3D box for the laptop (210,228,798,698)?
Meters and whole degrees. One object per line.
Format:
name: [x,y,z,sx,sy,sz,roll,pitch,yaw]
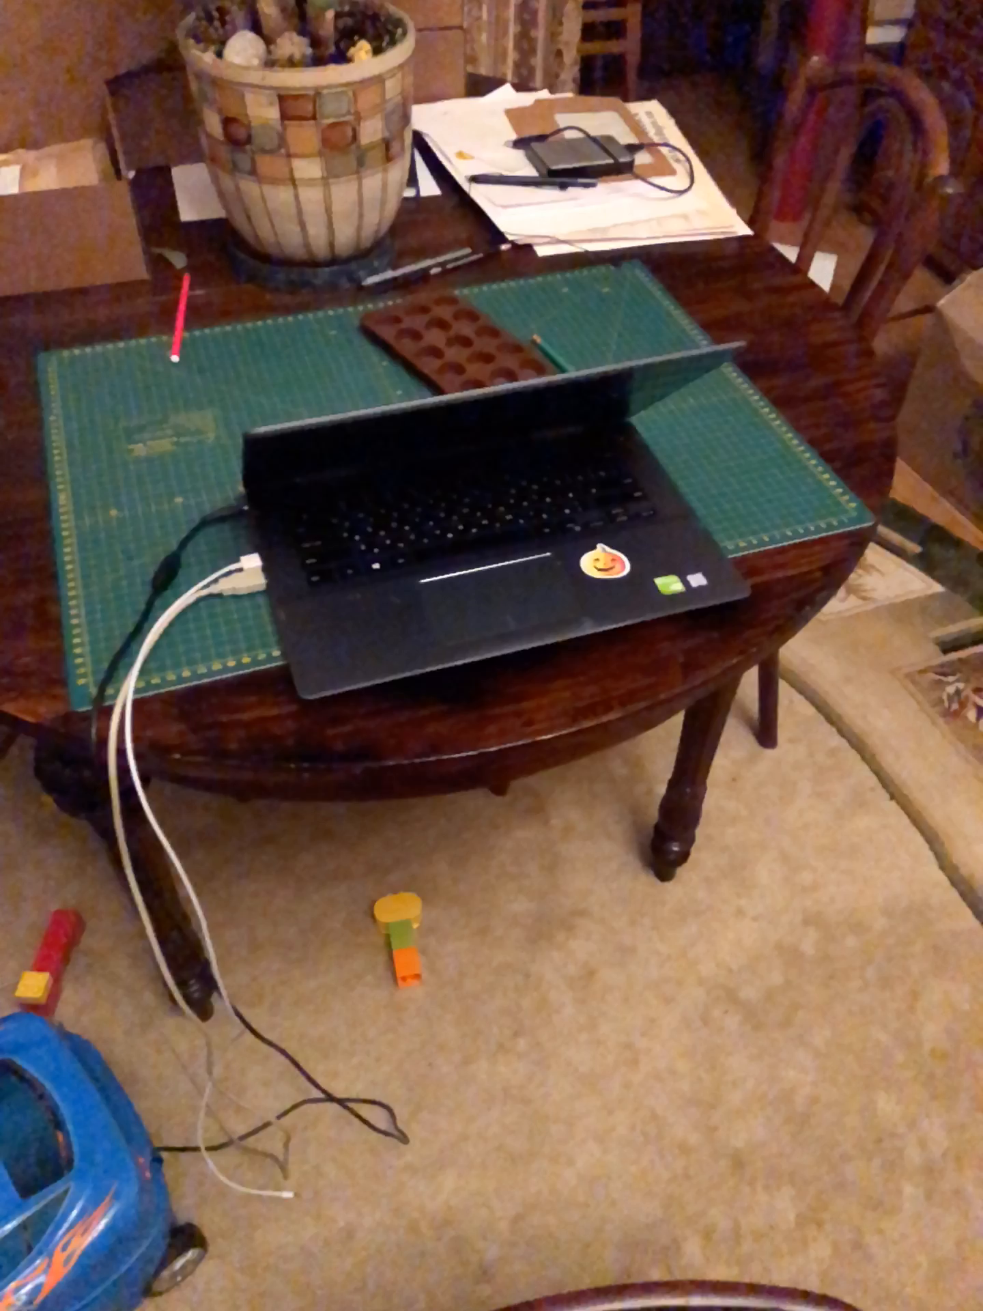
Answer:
laptop: [-0.003,-0.143,0.736,0.317,0.162,0.225,-13,48,-13]
